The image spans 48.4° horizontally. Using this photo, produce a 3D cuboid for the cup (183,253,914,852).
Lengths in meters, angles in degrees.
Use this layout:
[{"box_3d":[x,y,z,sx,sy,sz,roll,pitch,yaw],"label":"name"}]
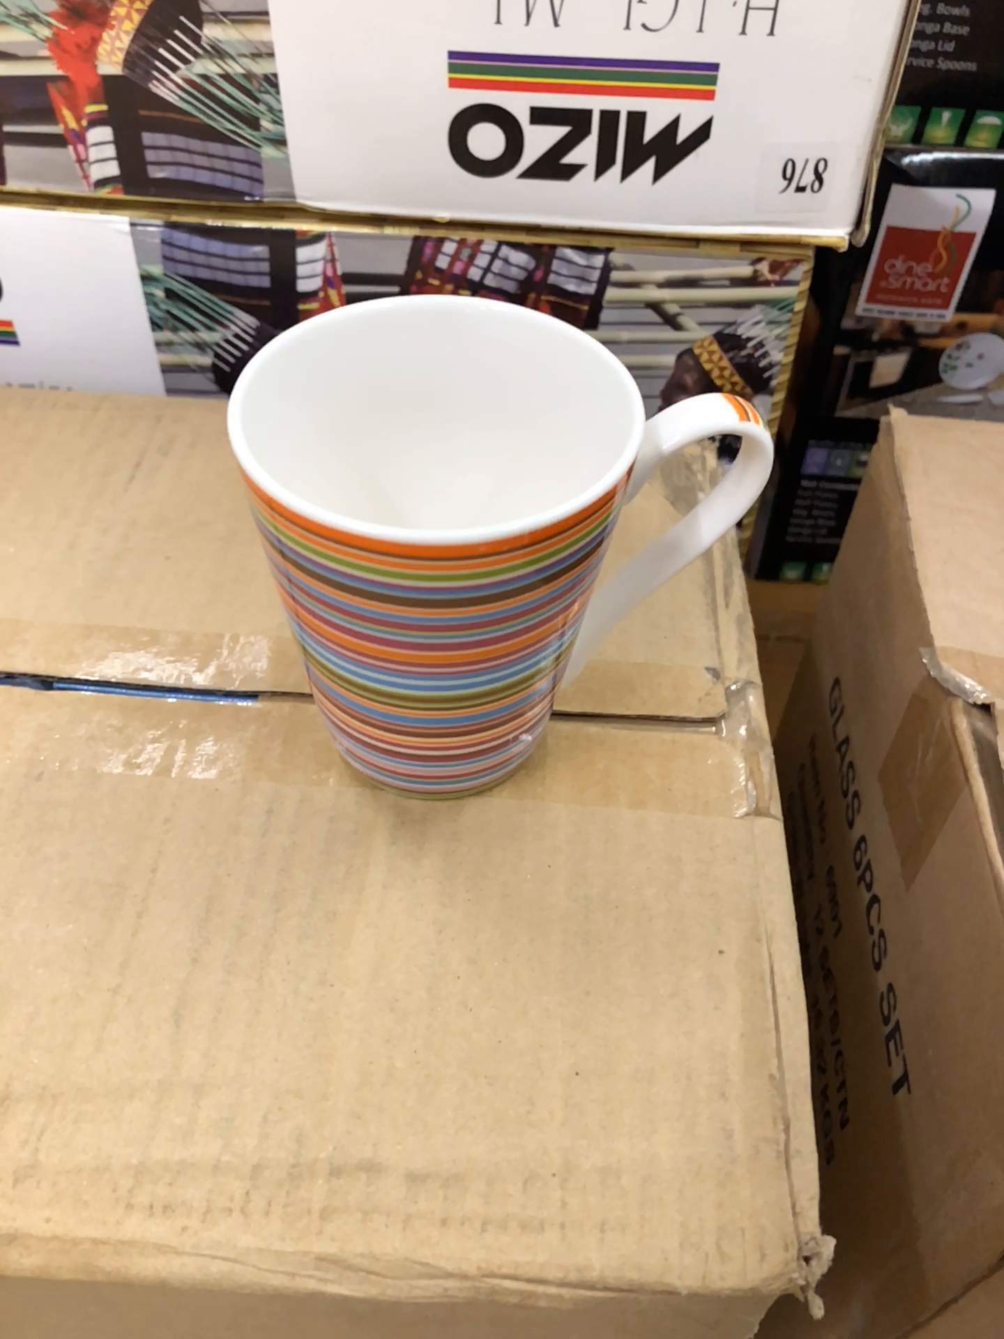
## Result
[{"box_3d":[0.003,-0.029,0.257,0.130,0.089,0.080,-9,48,-11],"label":"cup"}]
